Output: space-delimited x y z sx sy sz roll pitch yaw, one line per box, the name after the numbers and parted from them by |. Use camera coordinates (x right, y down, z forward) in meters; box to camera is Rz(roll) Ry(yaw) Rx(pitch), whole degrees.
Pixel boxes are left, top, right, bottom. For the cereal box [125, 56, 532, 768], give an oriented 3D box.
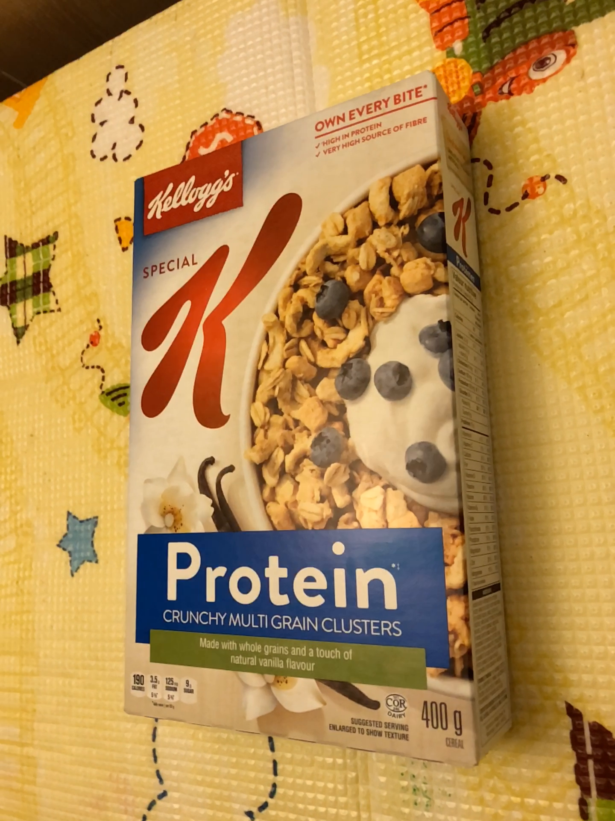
0.002 0.002 0.300 0.160 0.060 0.250 -6 82 28 | cereal box
